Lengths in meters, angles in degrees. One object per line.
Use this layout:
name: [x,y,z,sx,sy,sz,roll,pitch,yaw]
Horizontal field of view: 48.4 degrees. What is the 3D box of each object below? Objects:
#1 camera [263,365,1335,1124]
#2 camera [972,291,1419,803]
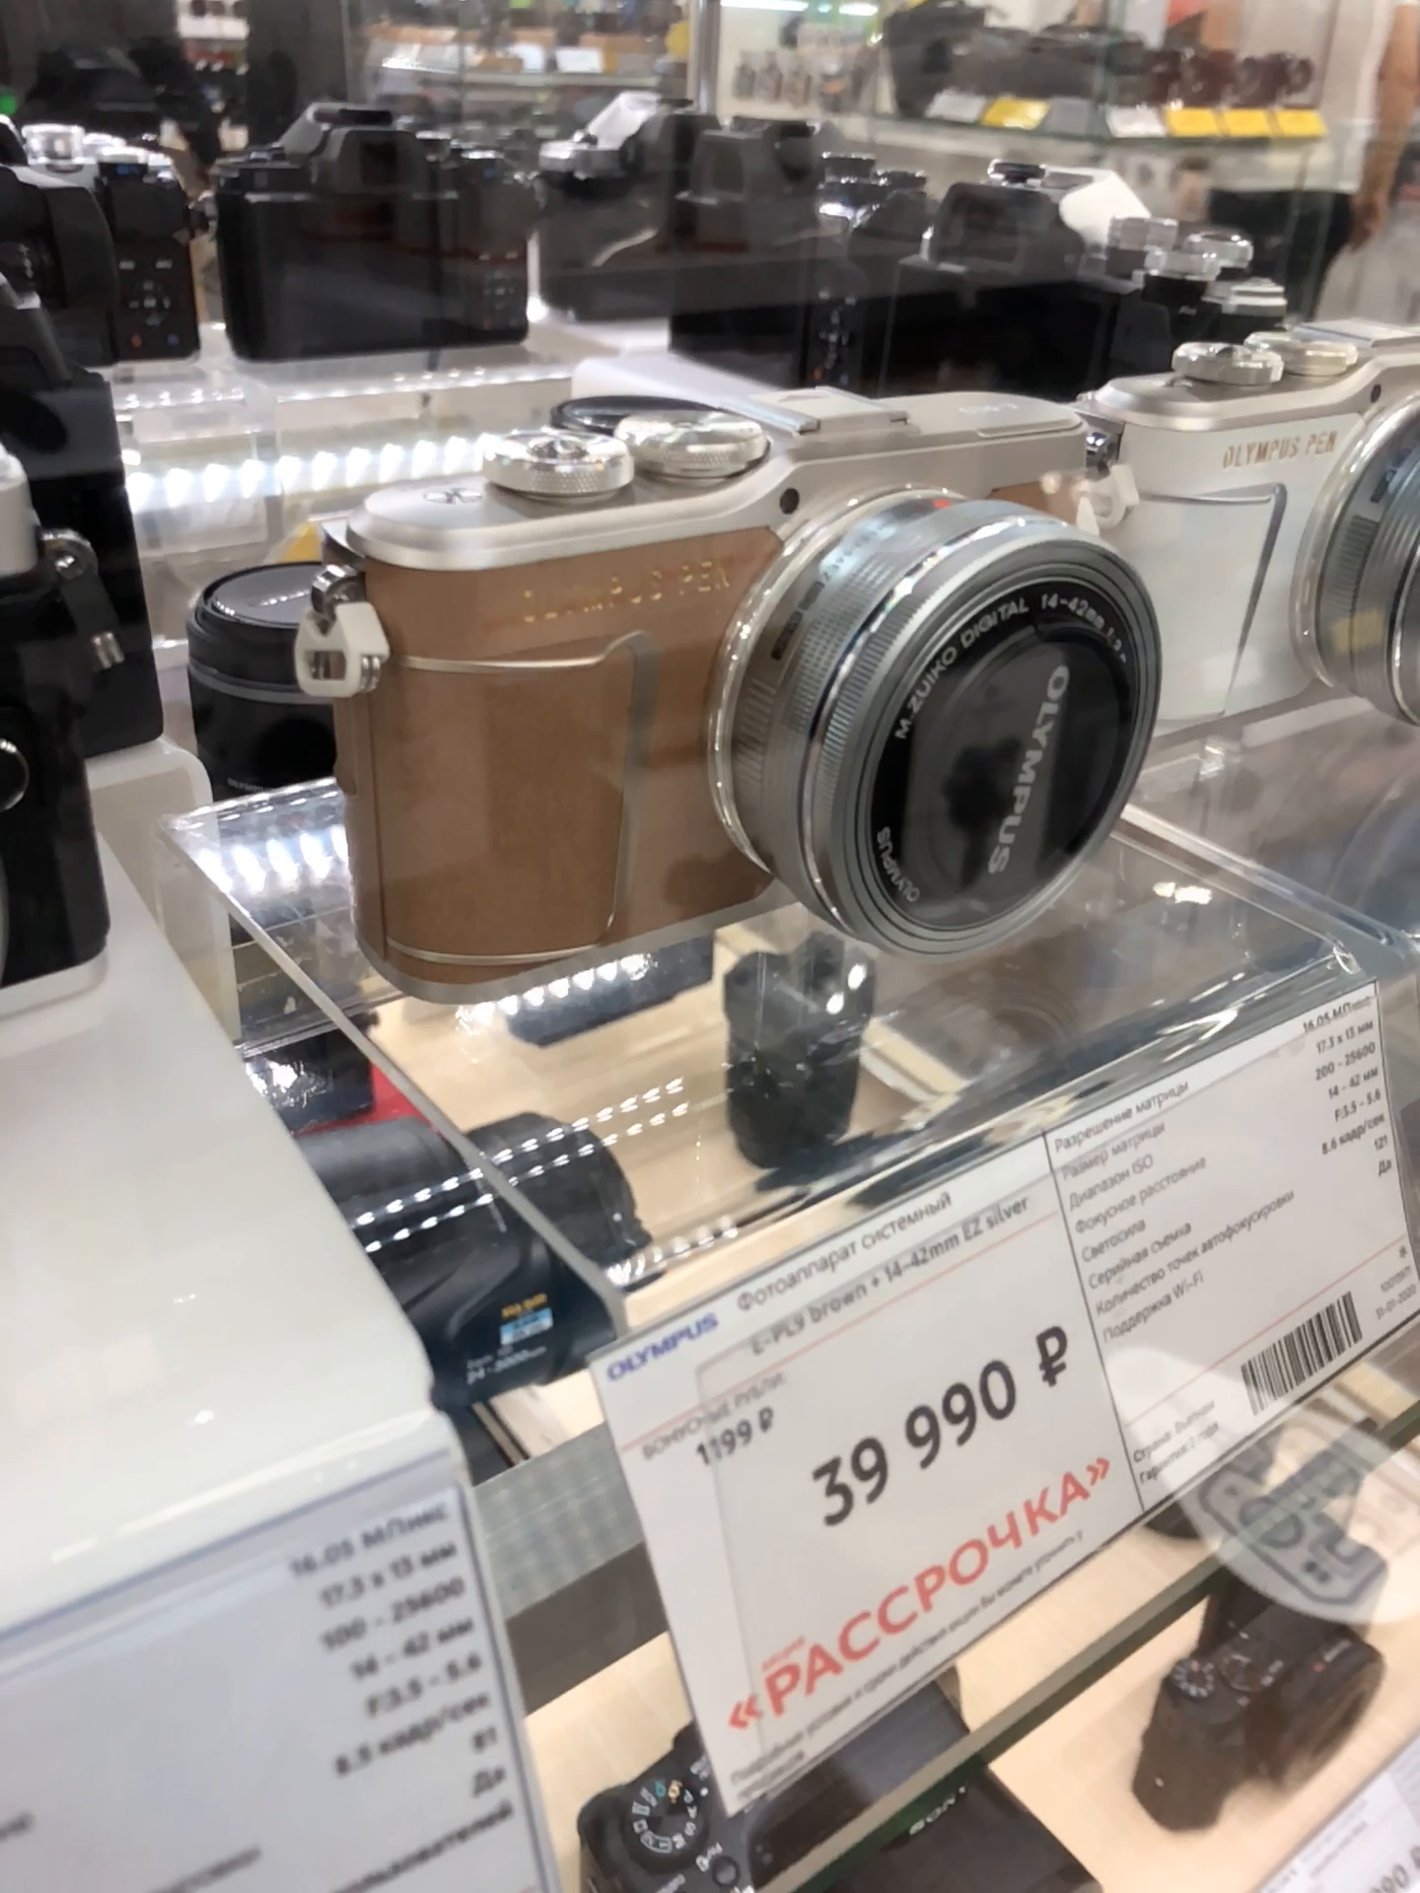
camera: [0.014,-0.036,0.209,0.122,0.060,0.060,-19,36,-33]
camera: [0.115,-0.077,0.280,0.122,0.060,0.060,-19,36,-33]
